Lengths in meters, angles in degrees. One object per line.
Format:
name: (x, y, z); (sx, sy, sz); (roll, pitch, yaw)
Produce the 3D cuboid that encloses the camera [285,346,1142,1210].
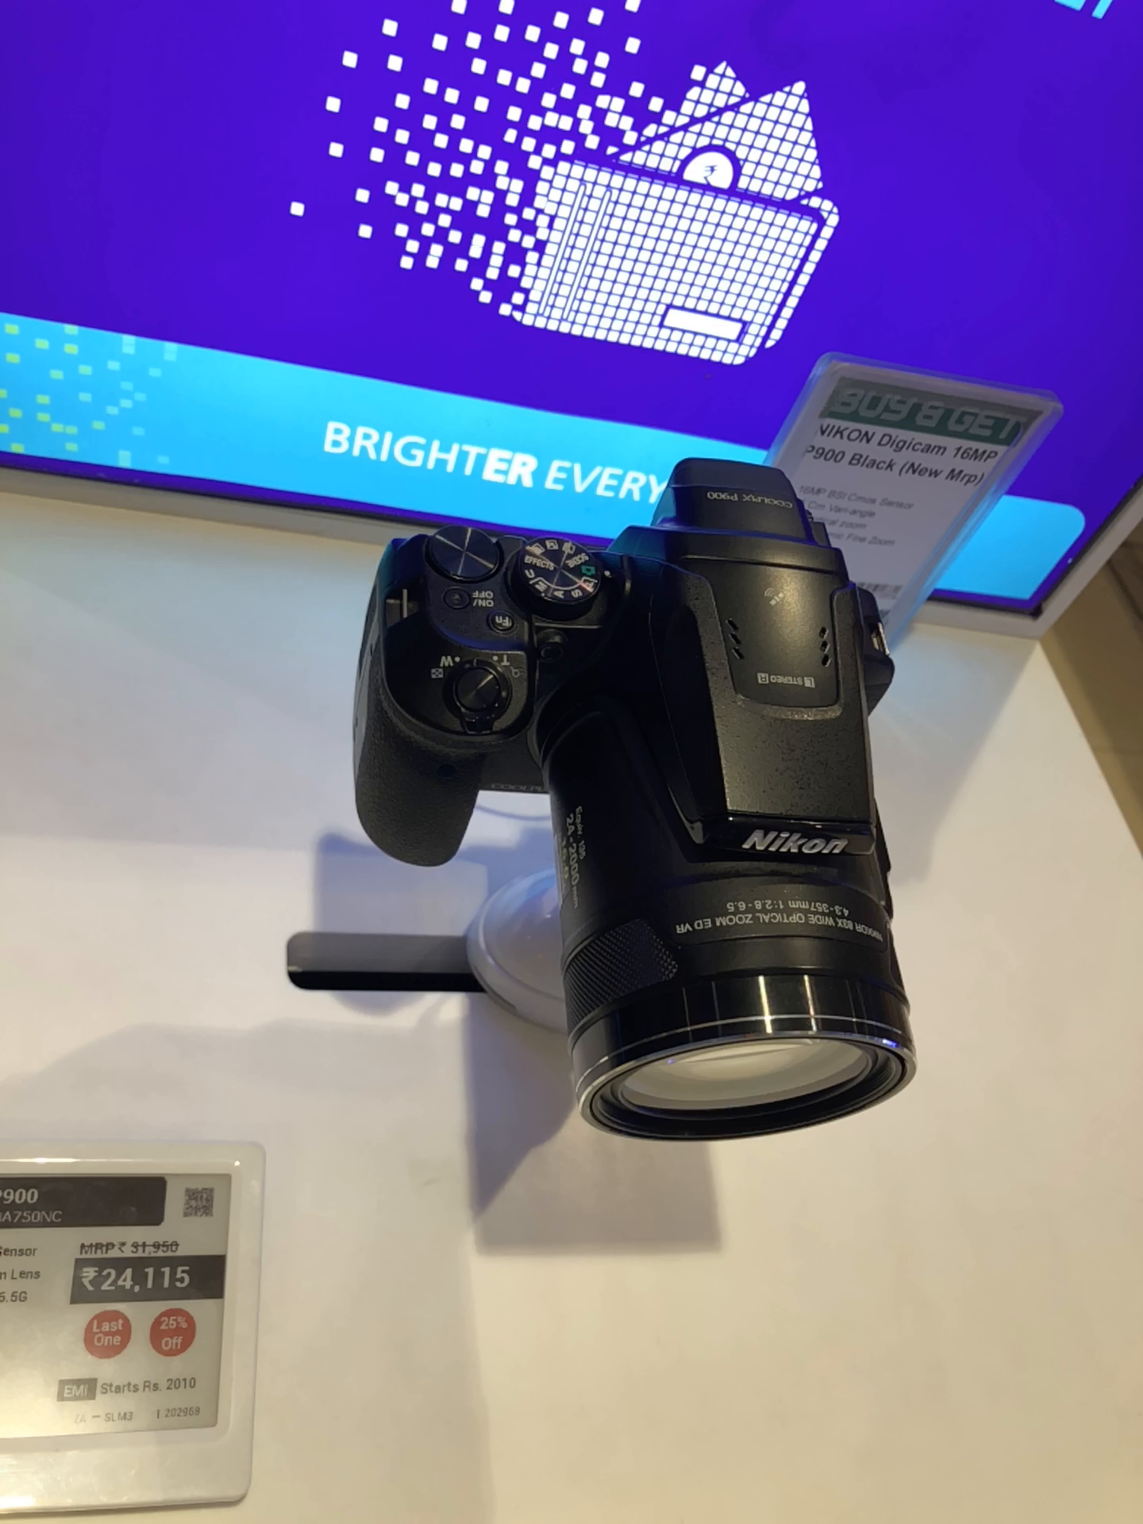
camera: (0.017, 0.007, 0.276); (0.140, 0.099, 0.141); (5, 51, -20)
